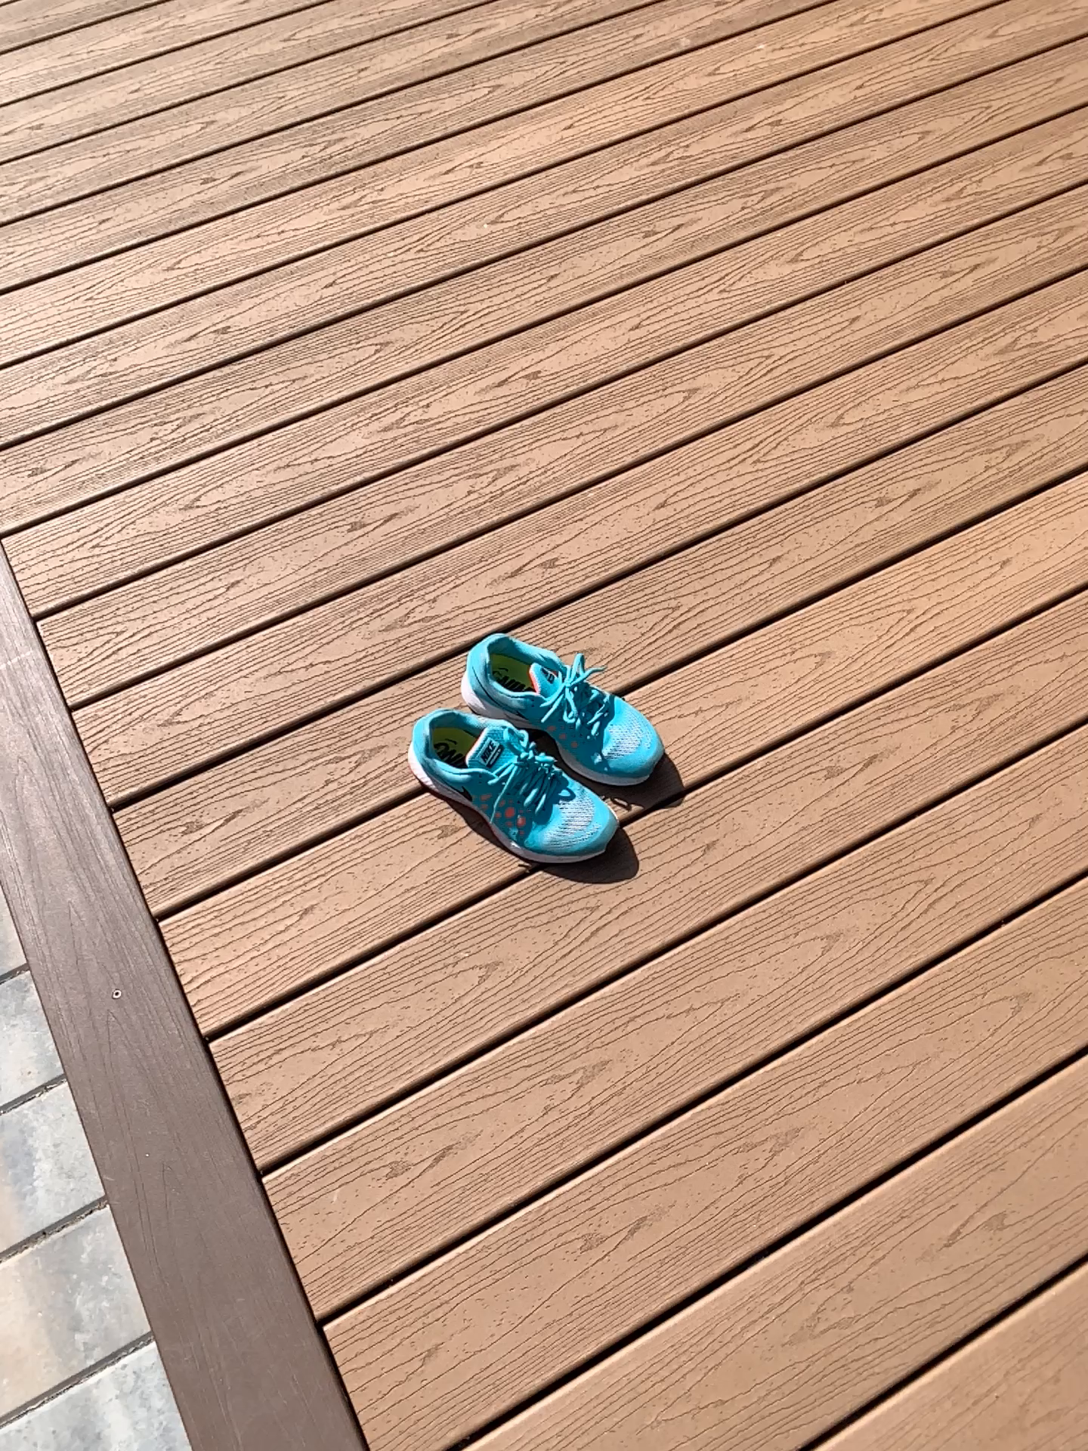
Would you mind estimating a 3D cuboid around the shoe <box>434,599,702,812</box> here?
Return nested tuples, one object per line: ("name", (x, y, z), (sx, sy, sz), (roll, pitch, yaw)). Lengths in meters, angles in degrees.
("shoe", (0.025, -0.023, 1.200), (0.260, 0.080, 0.110), (25, 66, 13))

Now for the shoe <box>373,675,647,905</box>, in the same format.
("shoe", (-0.035, 0.066, 1.163), (0.260, 0.080, 0.110), (28, 67, 14))
